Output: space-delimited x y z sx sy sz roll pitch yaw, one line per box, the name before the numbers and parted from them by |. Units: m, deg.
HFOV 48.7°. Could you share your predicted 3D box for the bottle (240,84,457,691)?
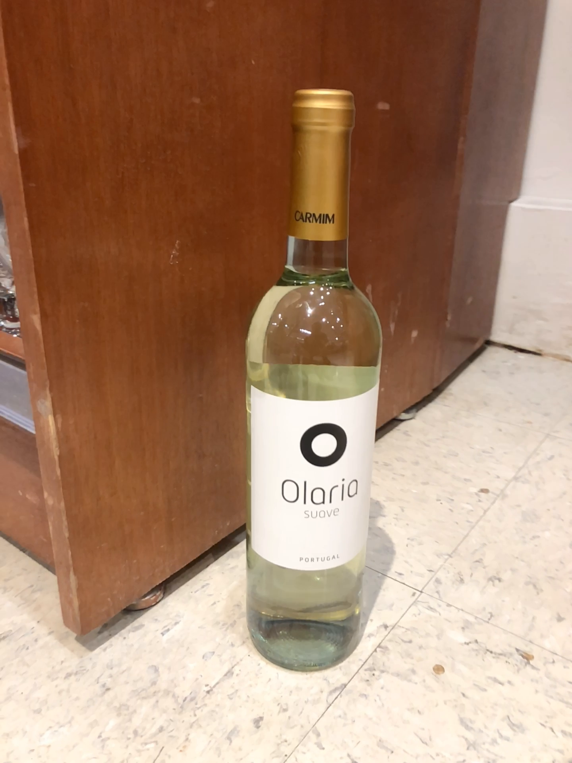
bottle | 0.022 0.015 0.346 0.080 0.318 0.070 -4 22 -13
